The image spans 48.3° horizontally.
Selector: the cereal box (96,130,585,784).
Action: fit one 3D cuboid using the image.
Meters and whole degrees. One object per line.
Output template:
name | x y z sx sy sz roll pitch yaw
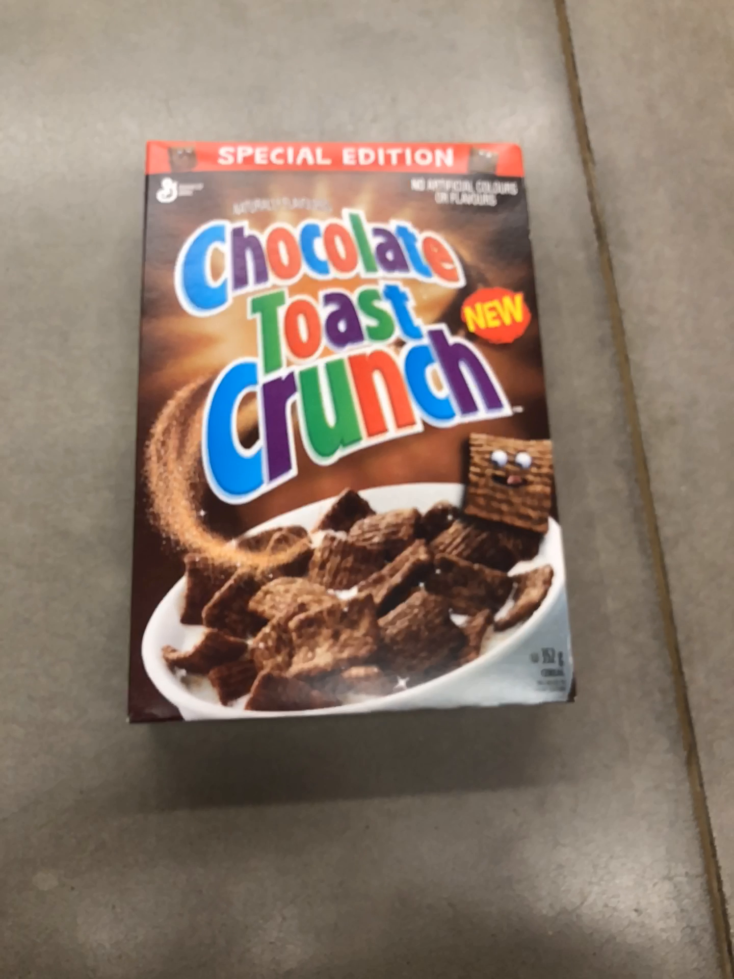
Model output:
cereal box | -0.022 -0.027 0.404 0.190 0.070 0.311 -2 69 -7
